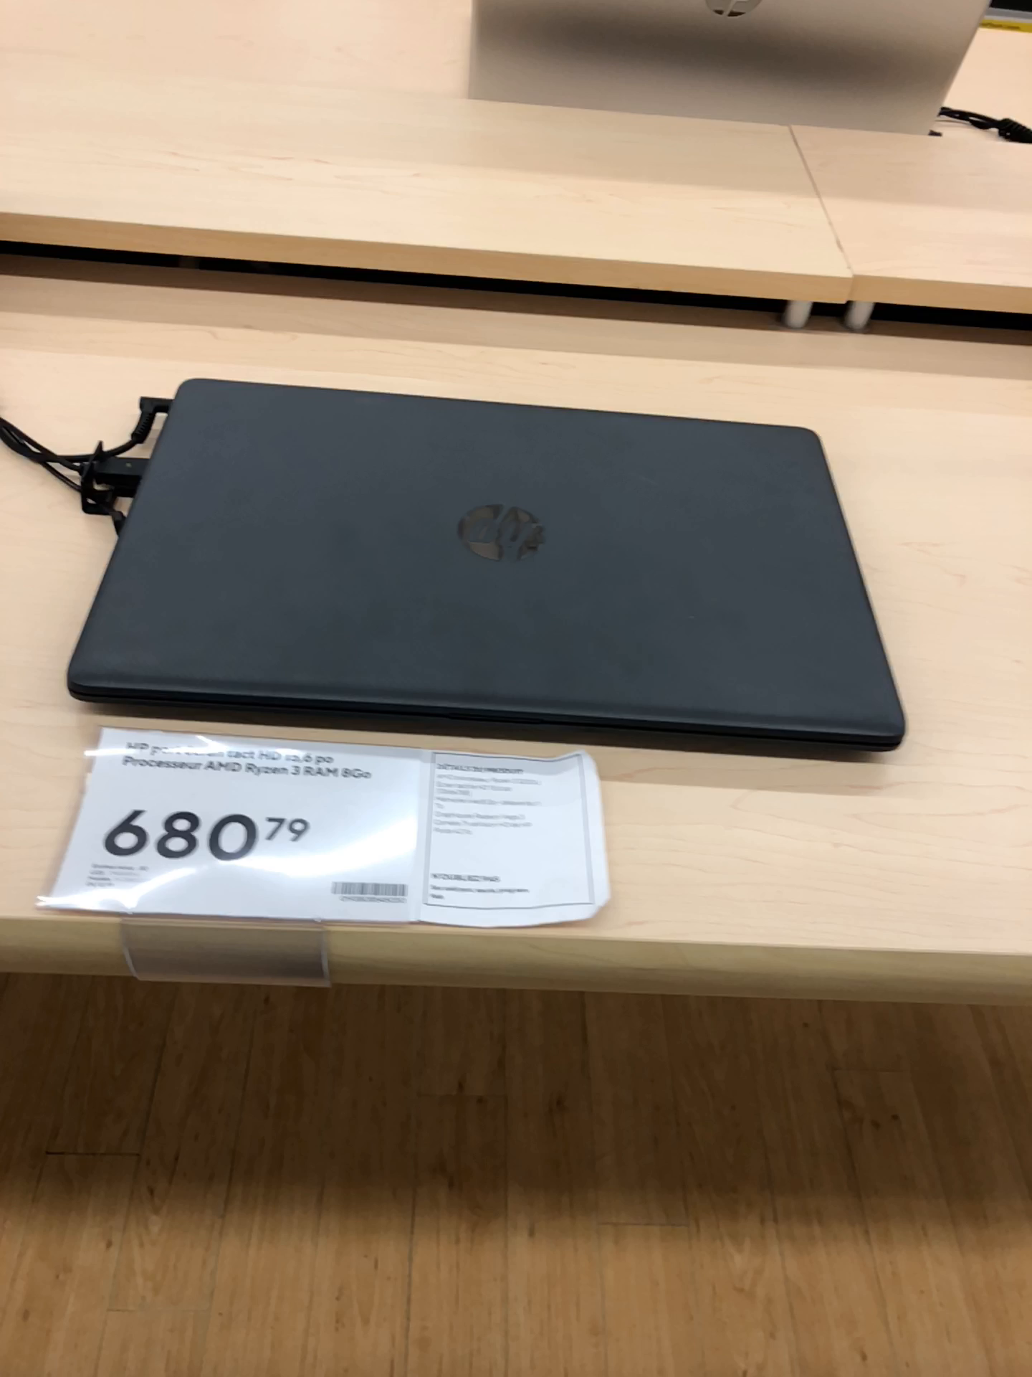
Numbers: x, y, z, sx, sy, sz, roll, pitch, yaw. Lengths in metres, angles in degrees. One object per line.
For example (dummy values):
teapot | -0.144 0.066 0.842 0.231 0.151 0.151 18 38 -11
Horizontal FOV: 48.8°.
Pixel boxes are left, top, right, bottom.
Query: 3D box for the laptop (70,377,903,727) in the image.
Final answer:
laptop | -0.007 -0.083 0.596 0.373 0.005 0.245 4 45 -4
